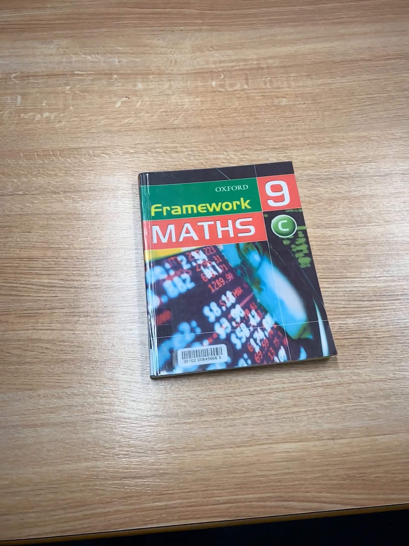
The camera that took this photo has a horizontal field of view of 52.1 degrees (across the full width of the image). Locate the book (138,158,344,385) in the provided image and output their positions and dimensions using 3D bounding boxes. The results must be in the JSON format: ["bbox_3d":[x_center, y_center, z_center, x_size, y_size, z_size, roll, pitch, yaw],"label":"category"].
[{"bbox_3d":[0.030,-0.013,0.462,0.190,0.020,0.244,-5,69,-4],"label":"book"}]
